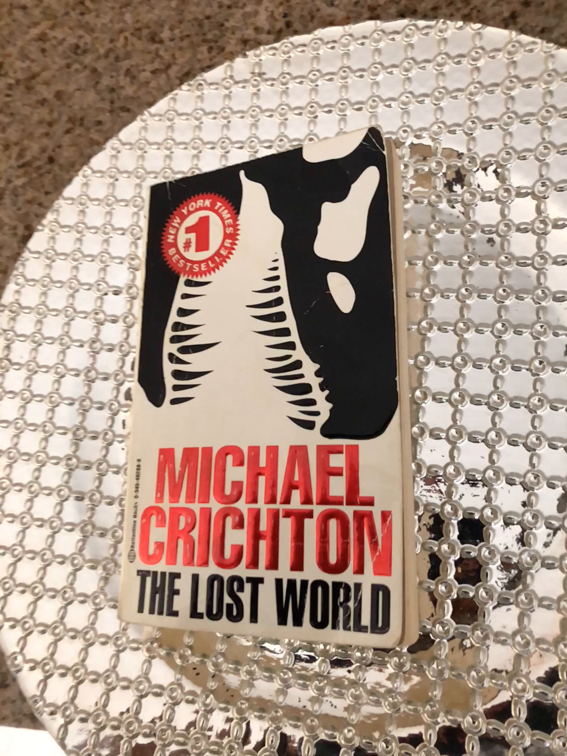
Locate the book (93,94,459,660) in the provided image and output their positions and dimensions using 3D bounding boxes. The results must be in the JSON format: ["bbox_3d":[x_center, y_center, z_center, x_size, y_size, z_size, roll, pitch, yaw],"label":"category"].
[{"bbox_3d":[-0.001,-0.002,0.236,0.118,0.040,0.182,-3,77,19],"label":"book"}]
